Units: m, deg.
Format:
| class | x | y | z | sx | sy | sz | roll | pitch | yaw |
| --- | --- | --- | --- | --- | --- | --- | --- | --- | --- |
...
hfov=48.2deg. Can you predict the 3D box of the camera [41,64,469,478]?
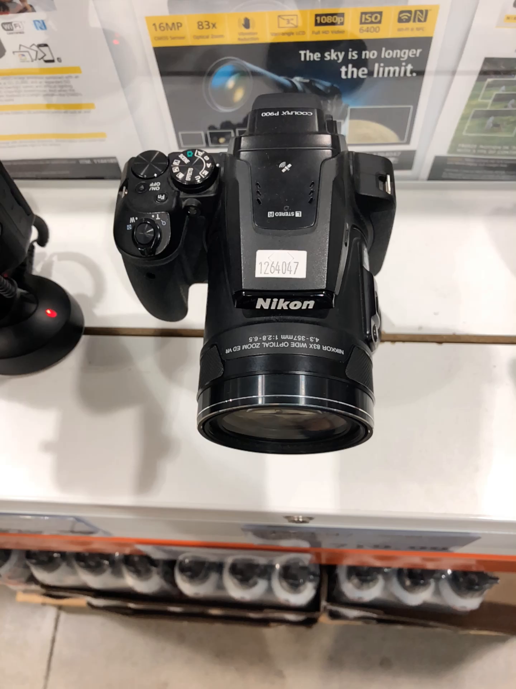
| class | x | y | z | sx | sy | sz | roll | pitch | yaw |
| --- | --- | --- | --- | --- | --- | --- | --- | --- | --- |
| camera | 0.002 | -0.031 | 0.269 | 0.140 | 0.100 | 0.160 | 0 | 63 | 3 |
